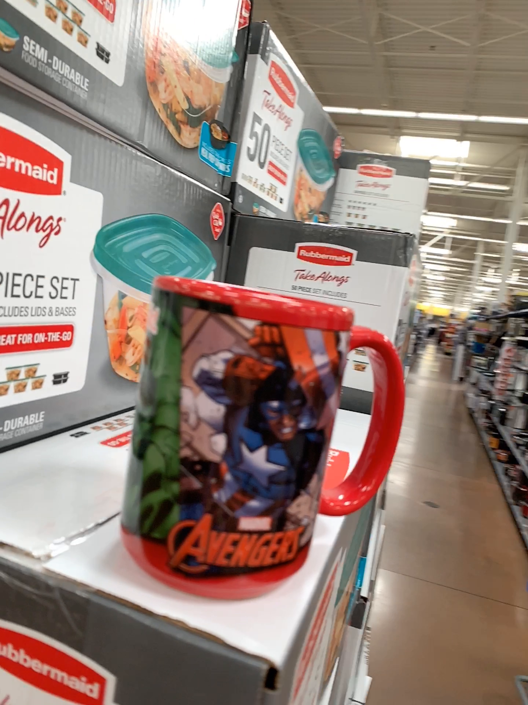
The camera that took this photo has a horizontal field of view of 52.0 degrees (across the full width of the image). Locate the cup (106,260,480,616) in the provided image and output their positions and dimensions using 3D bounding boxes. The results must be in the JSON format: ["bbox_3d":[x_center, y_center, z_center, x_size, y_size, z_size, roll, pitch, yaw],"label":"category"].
[{"bbox_3d":[0.002,0.029,0.244,0.119,0.114,0.100,6,11,-23],"label":"cup"}]
